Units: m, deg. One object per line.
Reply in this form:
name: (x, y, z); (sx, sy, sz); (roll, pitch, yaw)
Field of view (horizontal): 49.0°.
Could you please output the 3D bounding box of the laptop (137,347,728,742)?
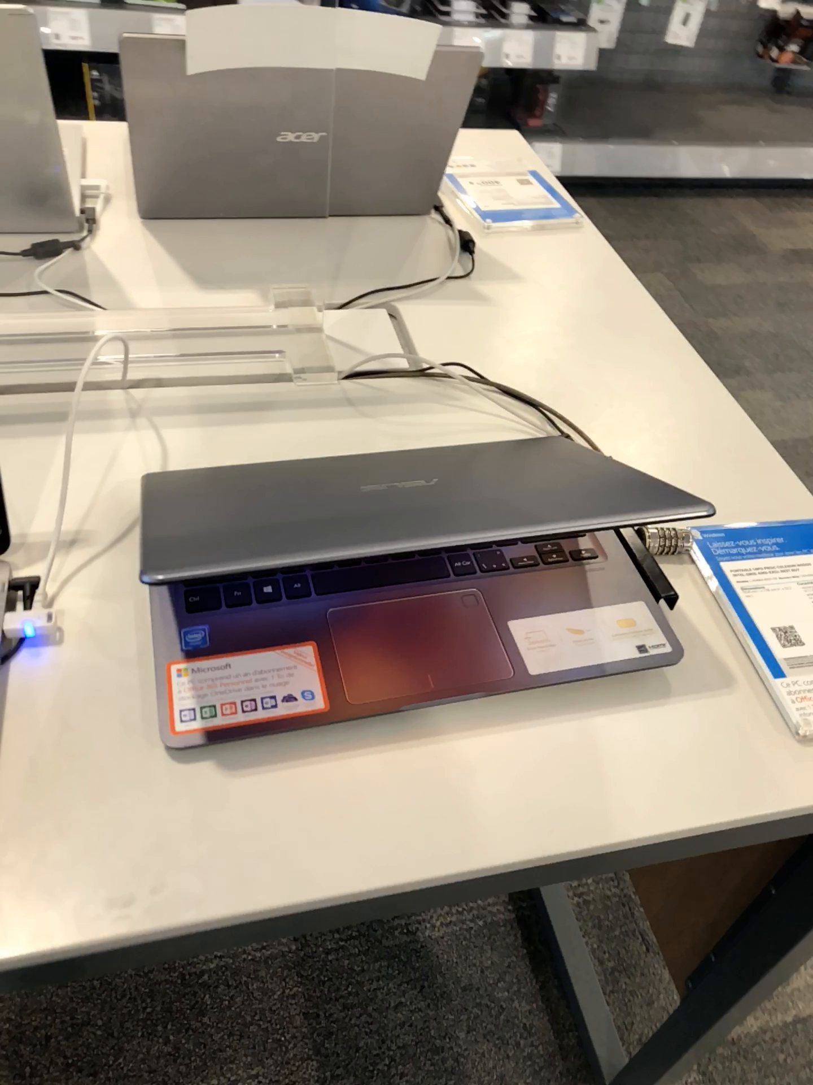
laptop: (0.001, -0.015, 0.552); (0.300, 0.099, 0.201); (-7, 46, -16)
